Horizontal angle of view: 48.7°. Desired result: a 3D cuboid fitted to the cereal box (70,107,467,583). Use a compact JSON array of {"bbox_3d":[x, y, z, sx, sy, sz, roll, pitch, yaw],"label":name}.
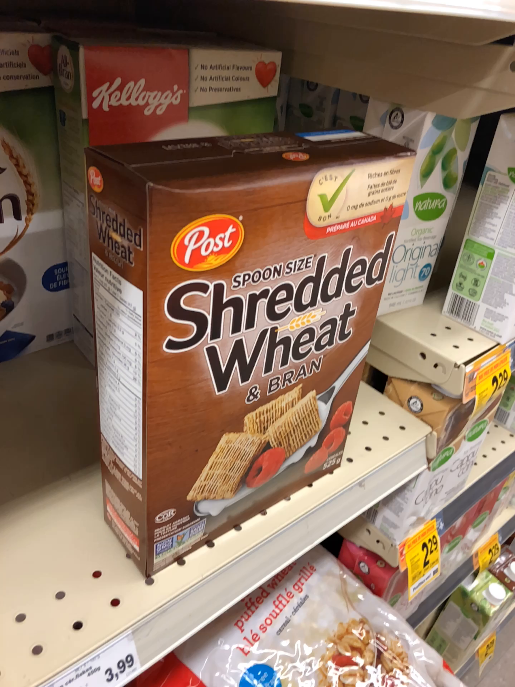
[{"bbox_3d":[0.006,-0.006,0.359,0.211,0.248,0.070,-20,41,-35],"label":"cereal box"}]
